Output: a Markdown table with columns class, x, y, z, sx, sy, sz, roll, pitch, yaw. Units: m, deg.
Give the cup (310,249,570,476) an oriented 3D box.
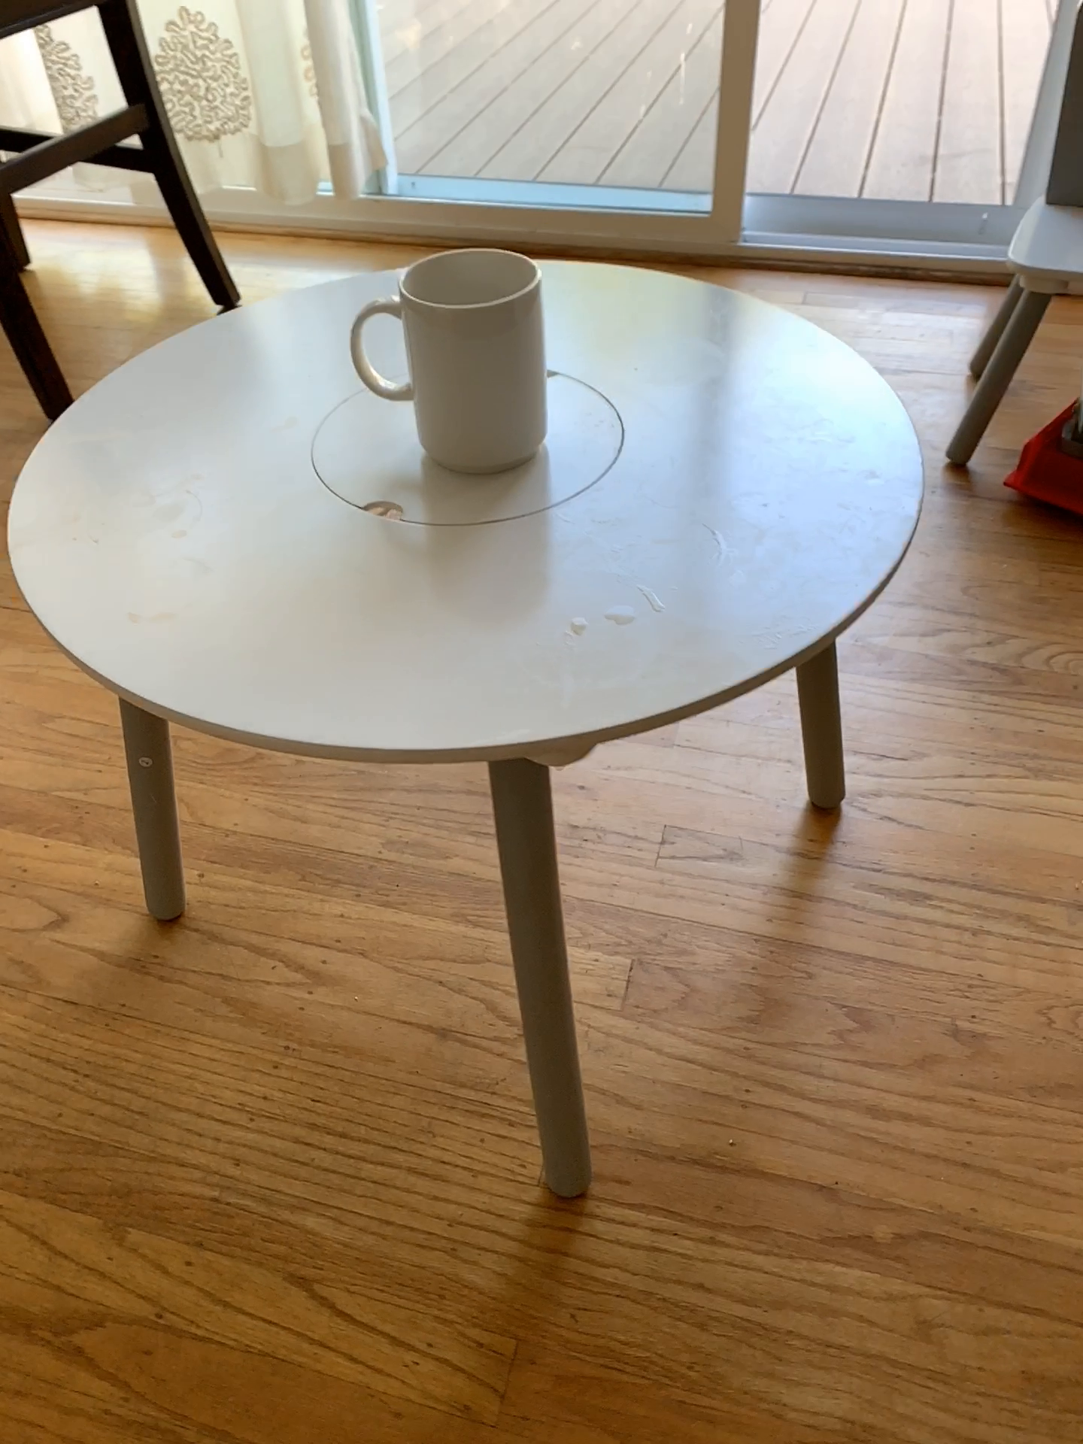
| class | x | y | z | sx | sy | sz | roll | pitch | yaw |
| --- | --- | --- | --- | --- | --- | --- | --- | --- | --- |
| cup | -0.058 | -0.230 | 0.705 | 0.130 | 0.089 | 0.110 | 8 | 45 | 11 |
